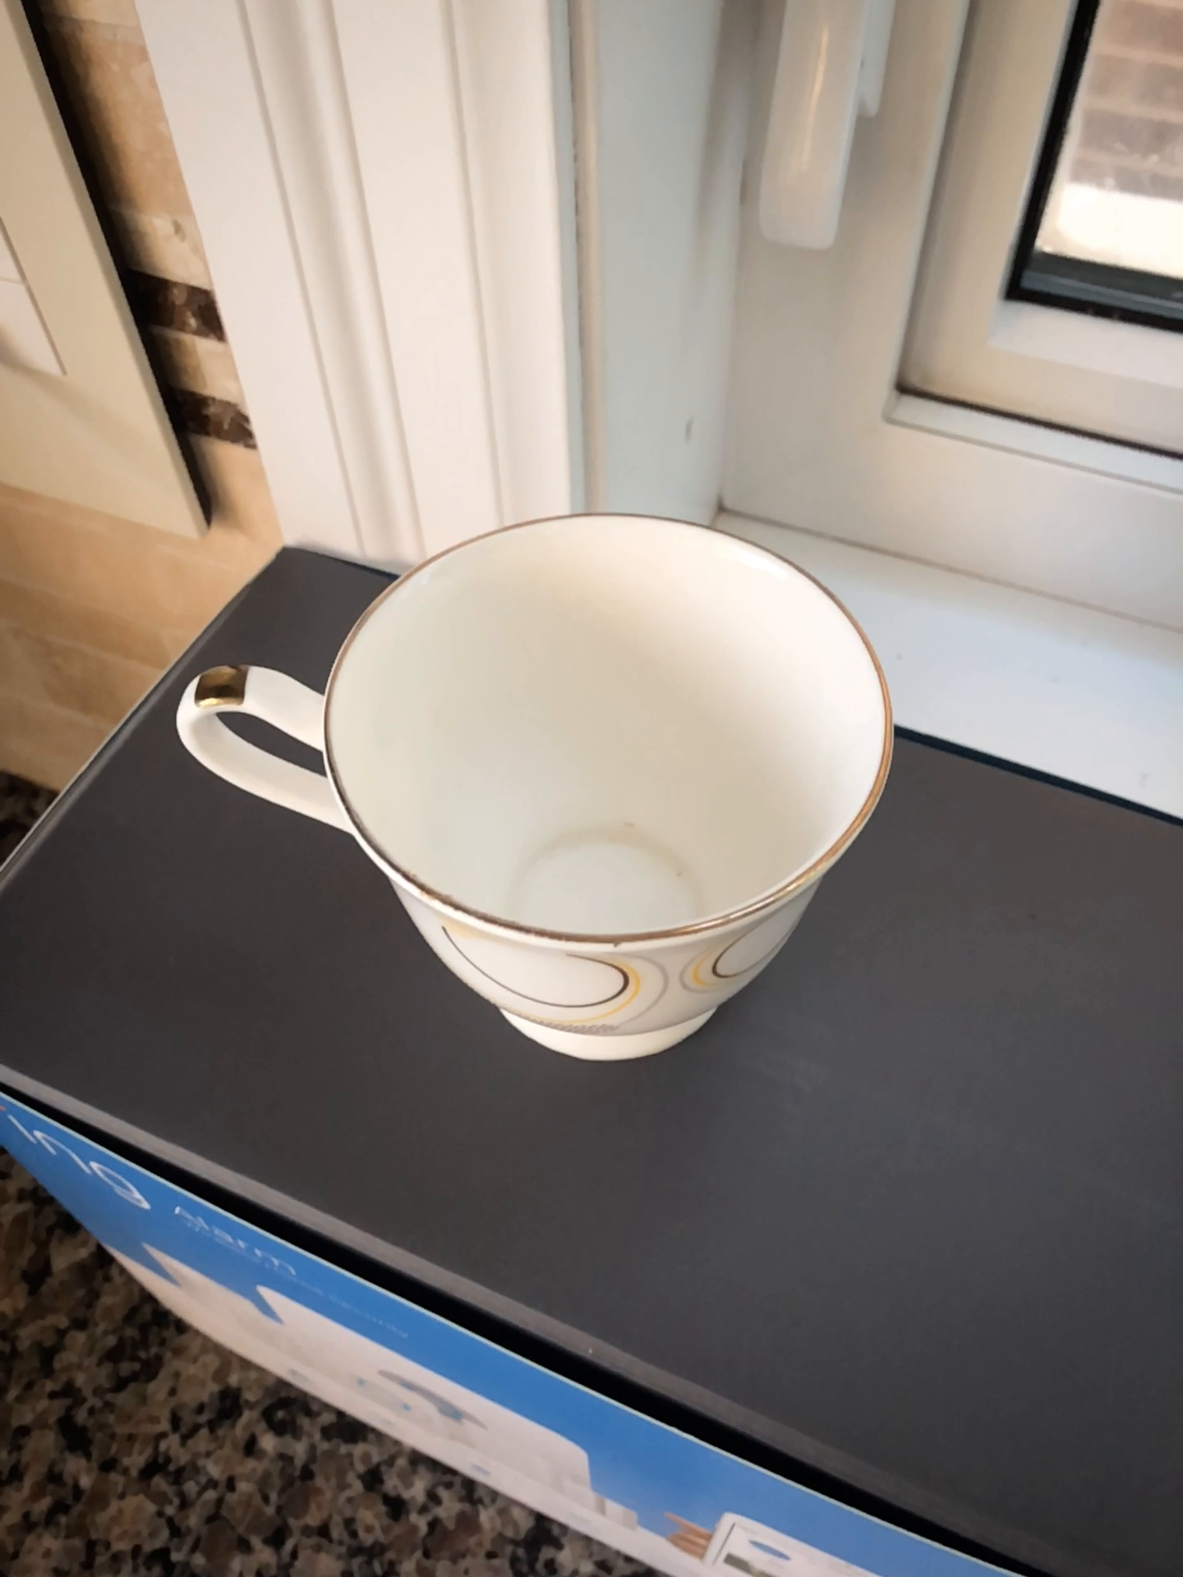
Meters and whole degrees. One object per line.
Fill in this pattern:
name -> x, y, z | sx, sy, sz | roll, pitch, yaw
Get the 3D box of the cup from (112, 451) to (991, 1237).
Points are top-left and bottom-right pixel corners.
cup -> -0.001, 0.007, 0.209 | 0.100, 0.066, 0.076 | 15, 56, 13
